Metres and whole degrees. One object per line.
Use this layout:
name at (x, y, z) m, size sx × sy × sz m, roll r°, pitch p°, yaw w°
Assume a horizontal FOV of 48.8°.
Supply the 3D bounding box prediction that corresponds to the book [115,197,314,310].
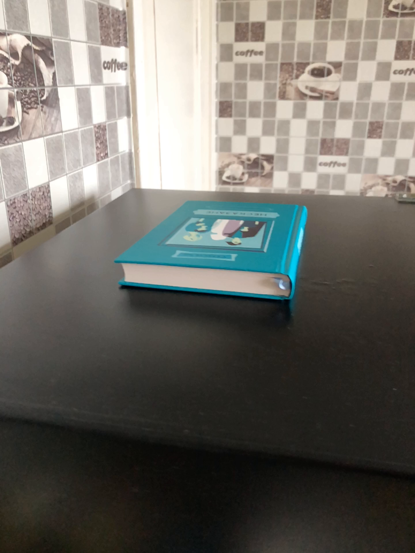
book at (0.025, -0.037, 0.453) m, size 0.151 × 0.030 × 0.221 m, roll 4°, pitch 23°, yaw 12°
